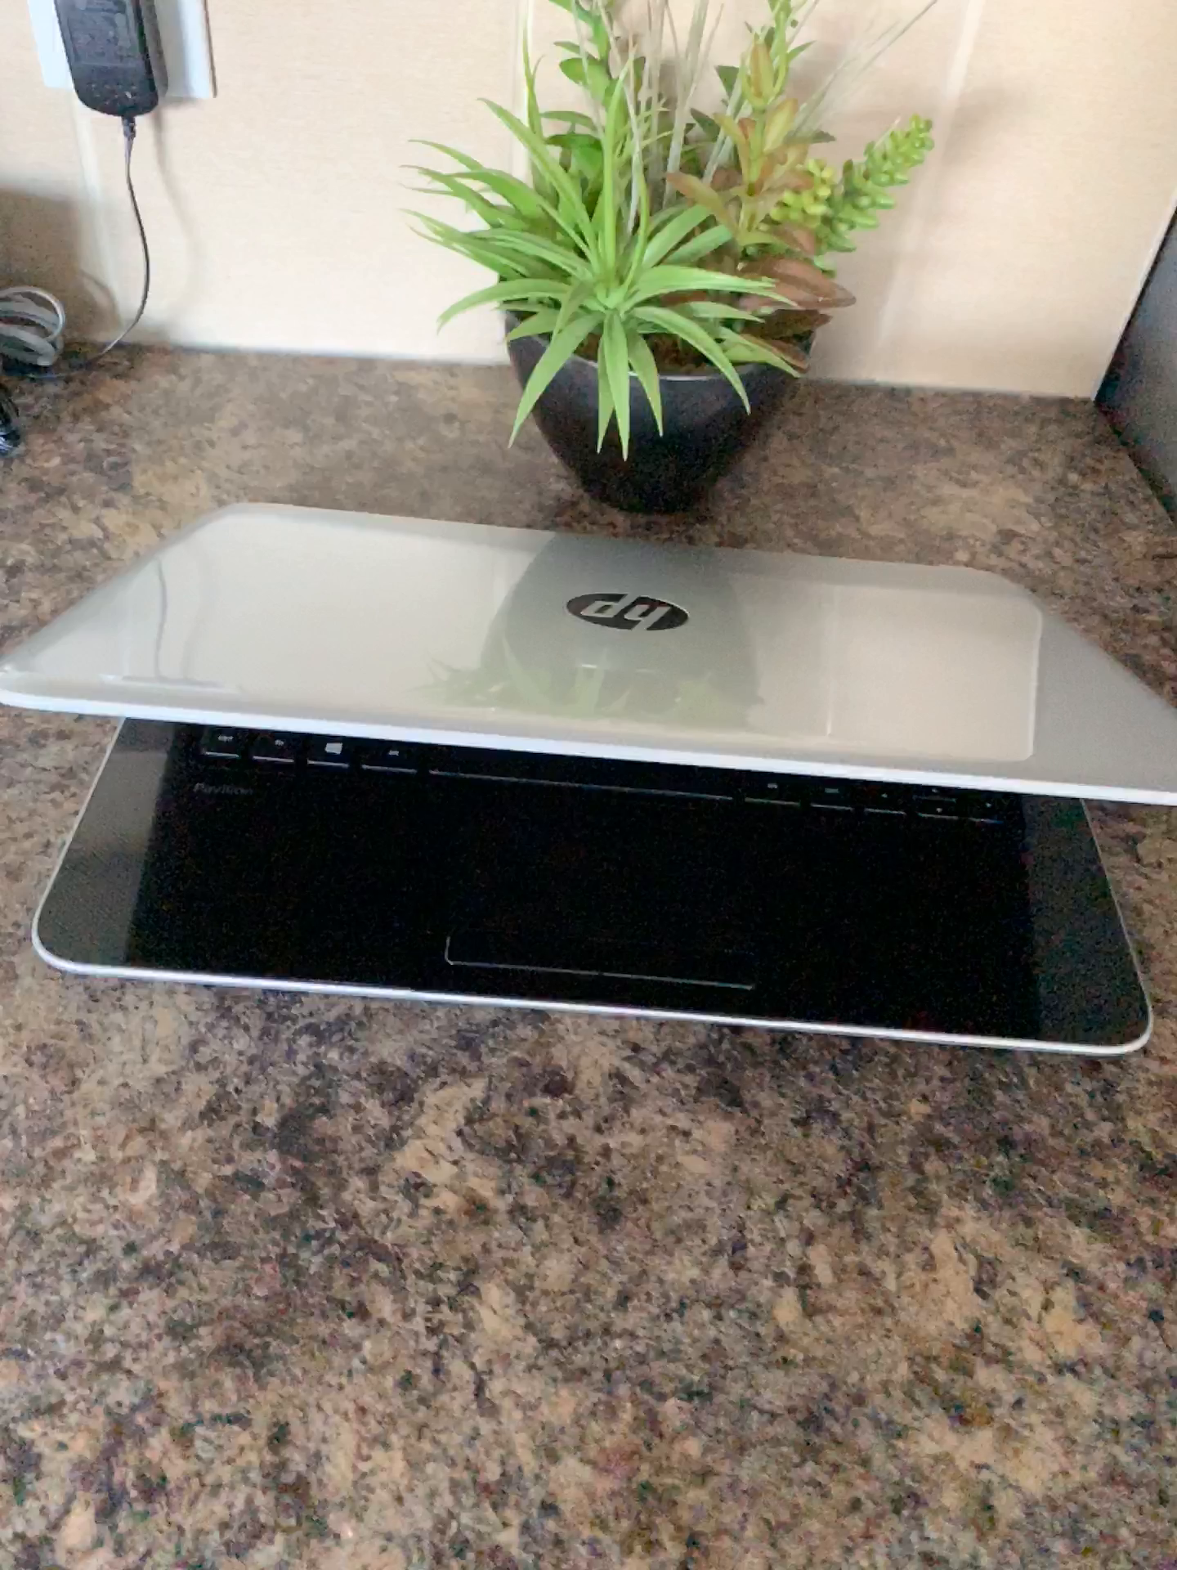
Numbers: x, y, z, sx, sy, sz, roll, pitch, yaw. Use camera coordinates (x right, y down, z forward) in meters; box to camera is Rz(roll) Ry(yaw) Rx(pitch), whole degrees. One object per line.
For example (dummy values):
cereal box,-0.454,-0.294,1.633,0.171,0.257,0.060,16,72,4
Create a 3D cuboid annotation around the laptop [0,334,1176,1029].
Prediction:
laptop,0.011,-0.044,0.398,0.328,0.081,0.208,4,48,-2
